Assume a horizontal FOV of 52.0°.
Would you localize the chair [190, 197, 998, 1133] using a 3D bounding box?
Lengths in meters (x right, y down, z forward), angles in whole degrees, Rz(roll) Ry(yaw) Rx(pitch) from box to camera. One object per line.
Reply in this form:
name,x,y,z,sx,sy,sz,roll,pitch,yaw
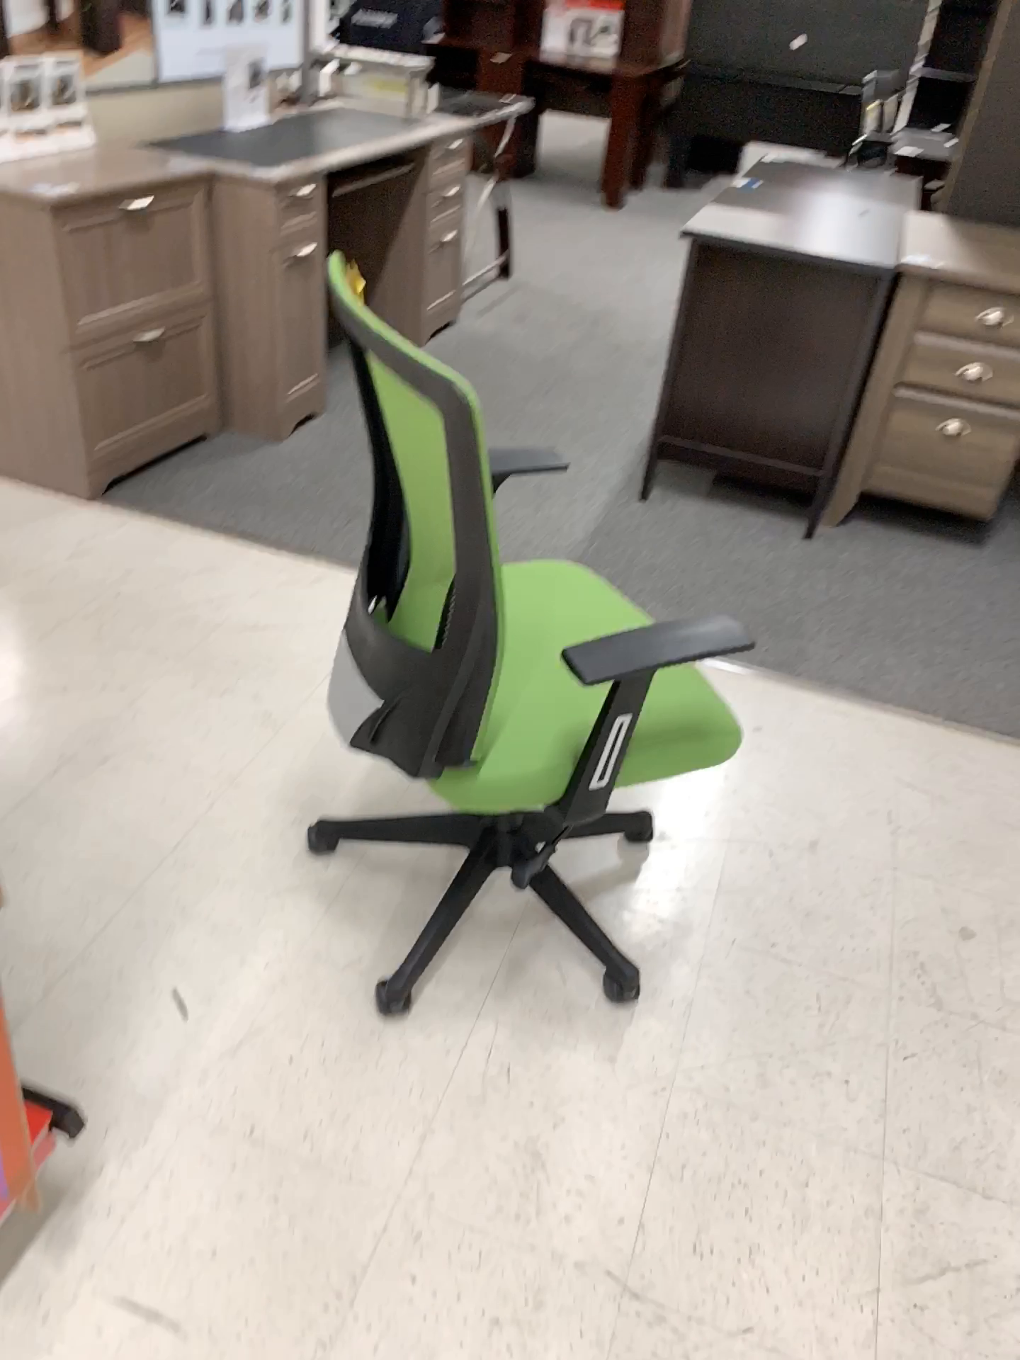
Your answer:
chair,0.009,-0.062,1.460,0.671,0.994,0.673,-12,39,-24
